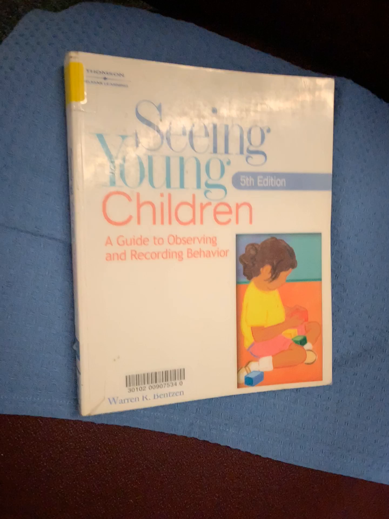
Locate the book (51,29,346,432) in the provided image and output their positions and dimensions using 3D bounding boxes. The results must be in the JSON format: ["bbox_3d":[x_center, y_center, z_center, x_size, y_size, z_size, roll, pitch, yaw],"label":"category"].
[{"bbox_3d":[0.010,-0.016,0.291,0.200,0.030,0.250,-3,98,-16],"label":"book"}]
